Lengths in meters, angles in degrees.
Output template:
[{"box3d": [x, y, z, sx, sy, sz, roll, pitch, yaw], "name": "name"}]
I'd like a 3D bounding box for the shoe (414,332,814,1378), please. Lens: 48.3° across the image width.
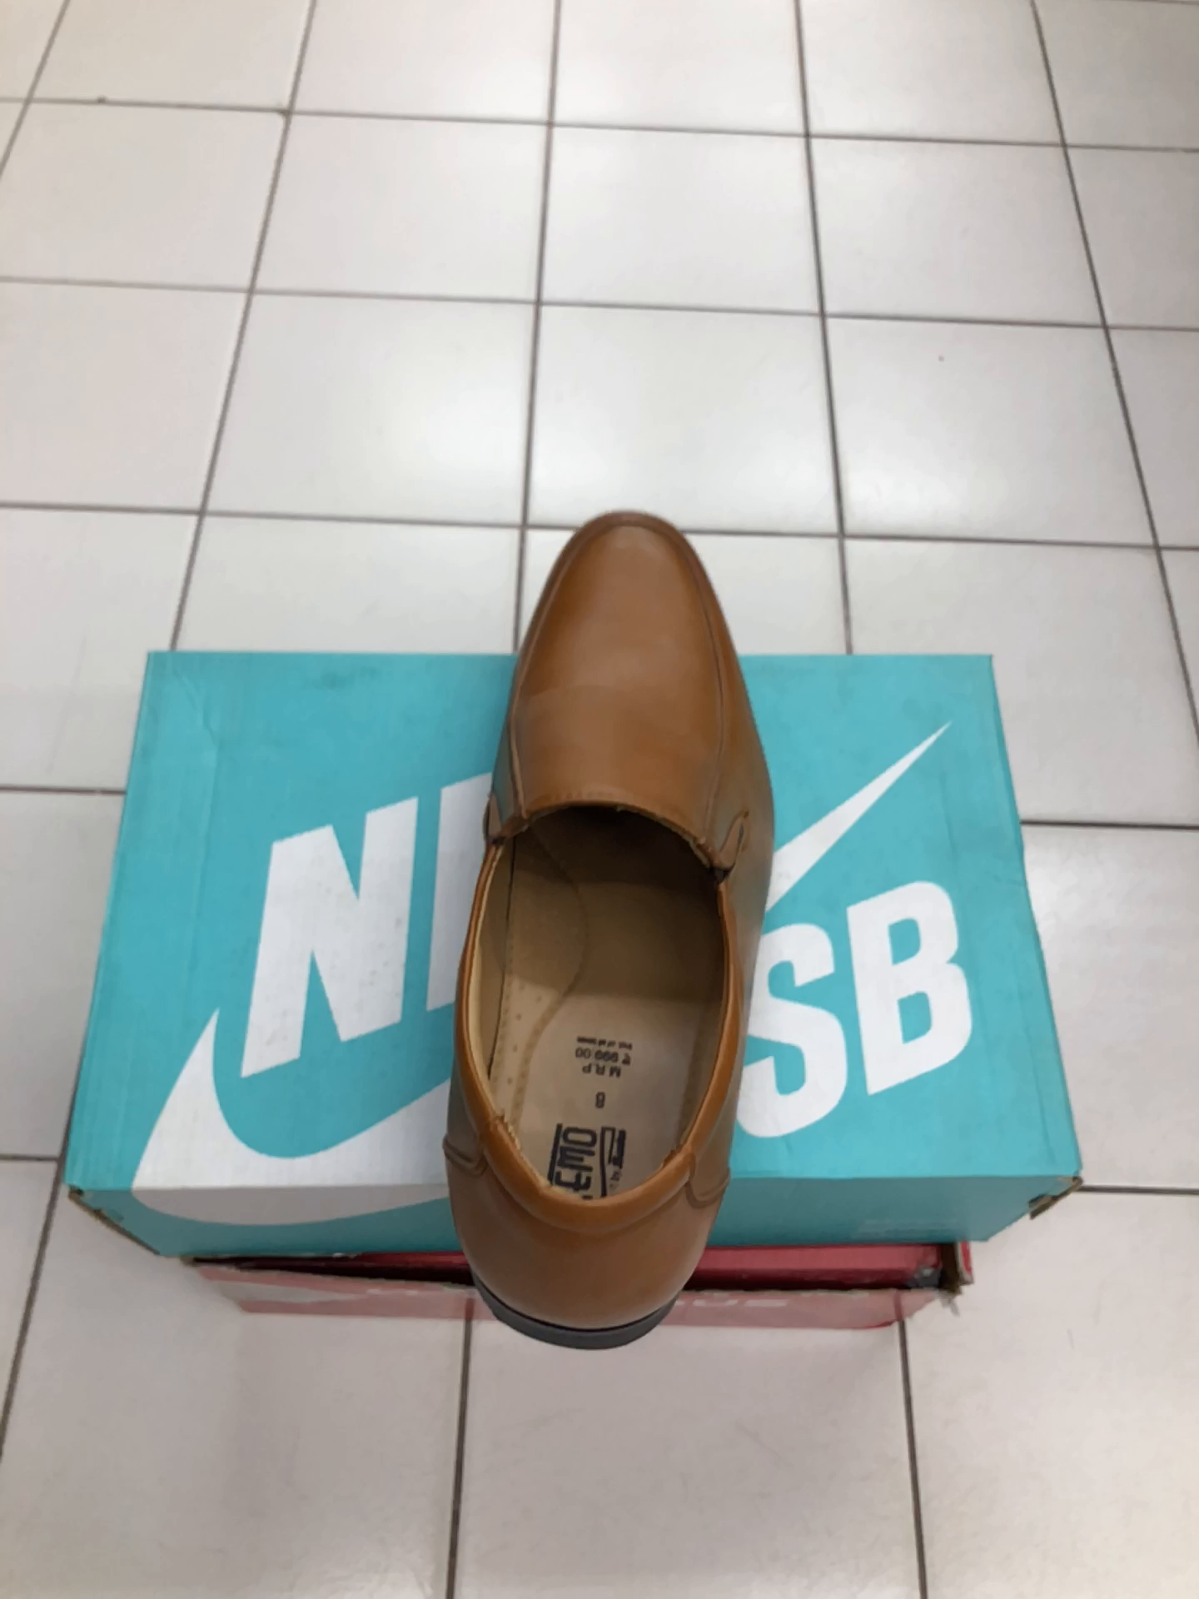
[{"box3d": [0.012, 0.005, 0.420, 0.090, 0.100, 0.311, 4, 61, 0], "name": "shoe"}]
